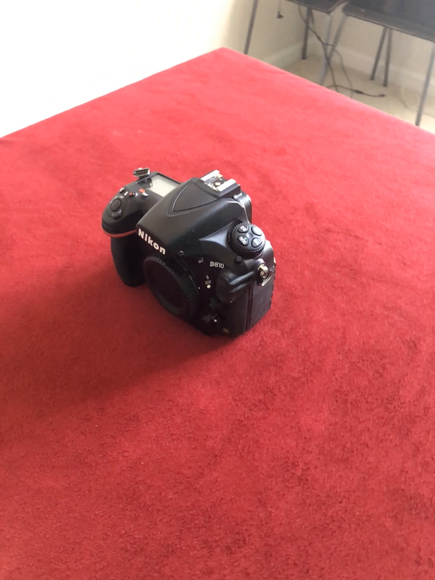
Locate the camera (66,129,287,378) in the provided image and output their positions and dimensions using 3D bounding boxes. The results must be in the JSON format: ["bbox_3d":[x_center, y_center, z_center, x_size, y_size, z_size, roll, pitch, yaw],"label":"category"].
[{"bbox_3d":[-0.032,-0.032,0.397,0.146,0.129,0.083,35,57,28],"label":"camera"}]
